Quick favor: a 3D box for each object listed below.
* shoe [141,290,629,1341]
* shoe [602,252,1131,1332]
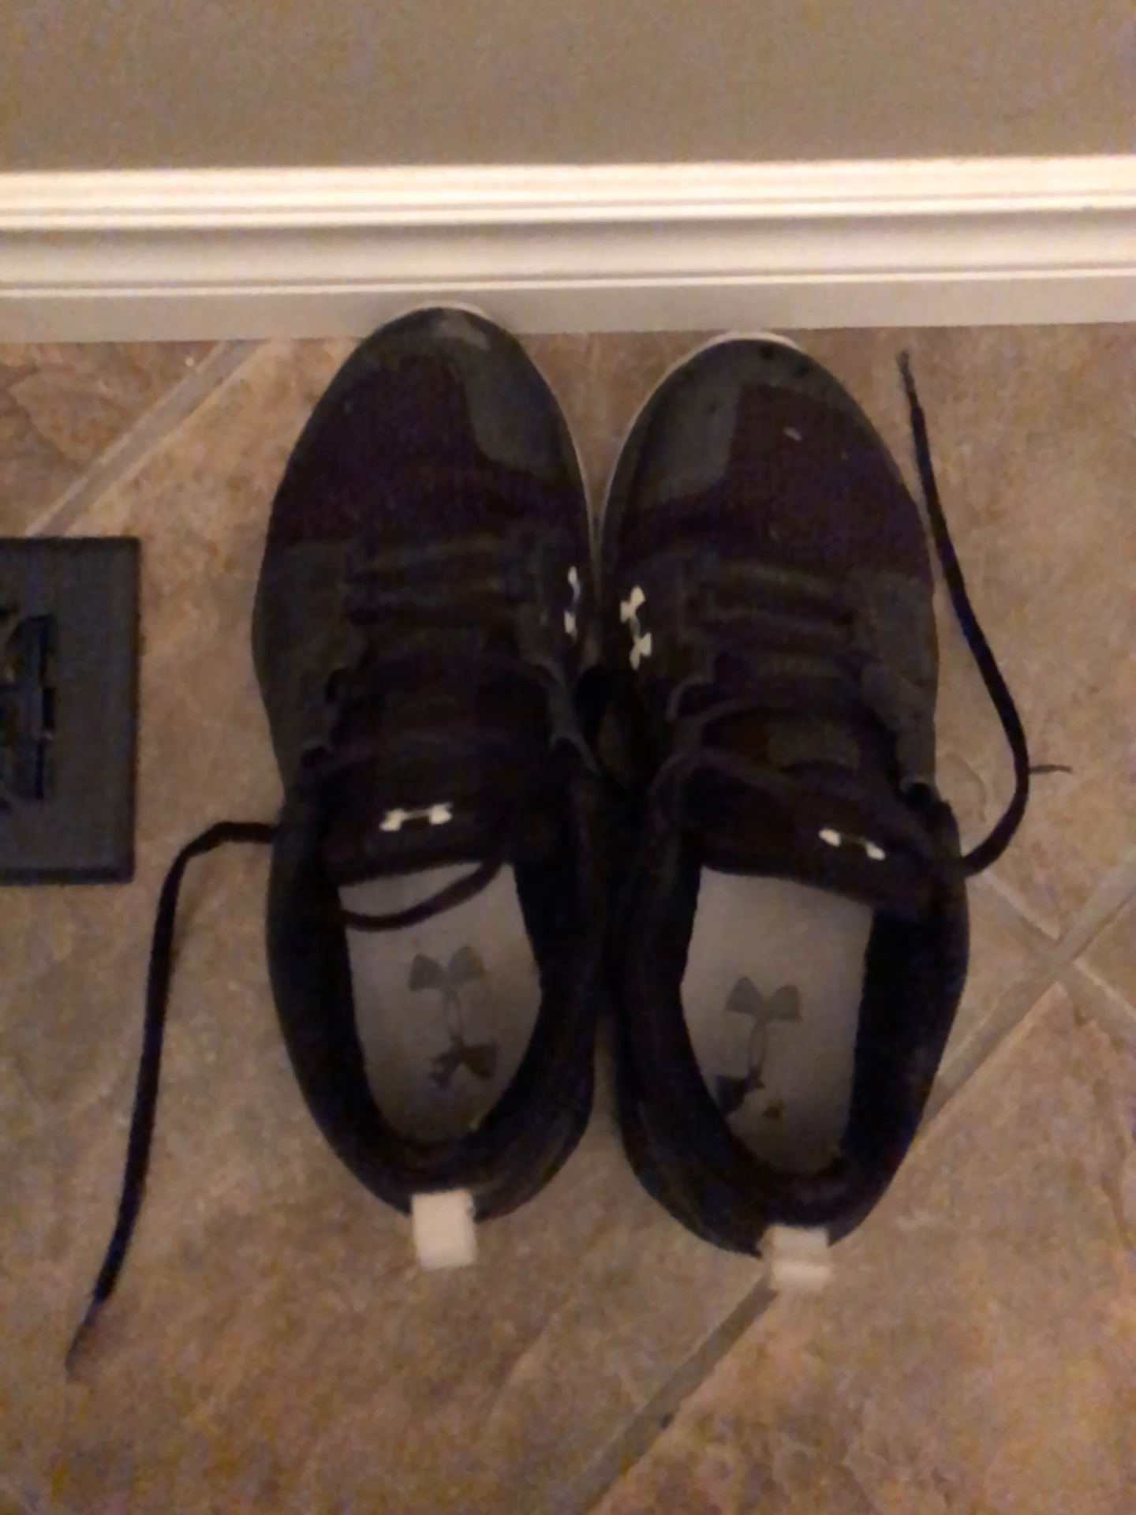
[{"bbox_3d":[-0.043,0.013,0.344,0.110,0.100,0.250,0,83,-1],"label":"shoe"},{"bbox_3d":[0.067,0.007,0.335,0.110,0.100,0.250,0,83,-1],"label":"shoe"}]
